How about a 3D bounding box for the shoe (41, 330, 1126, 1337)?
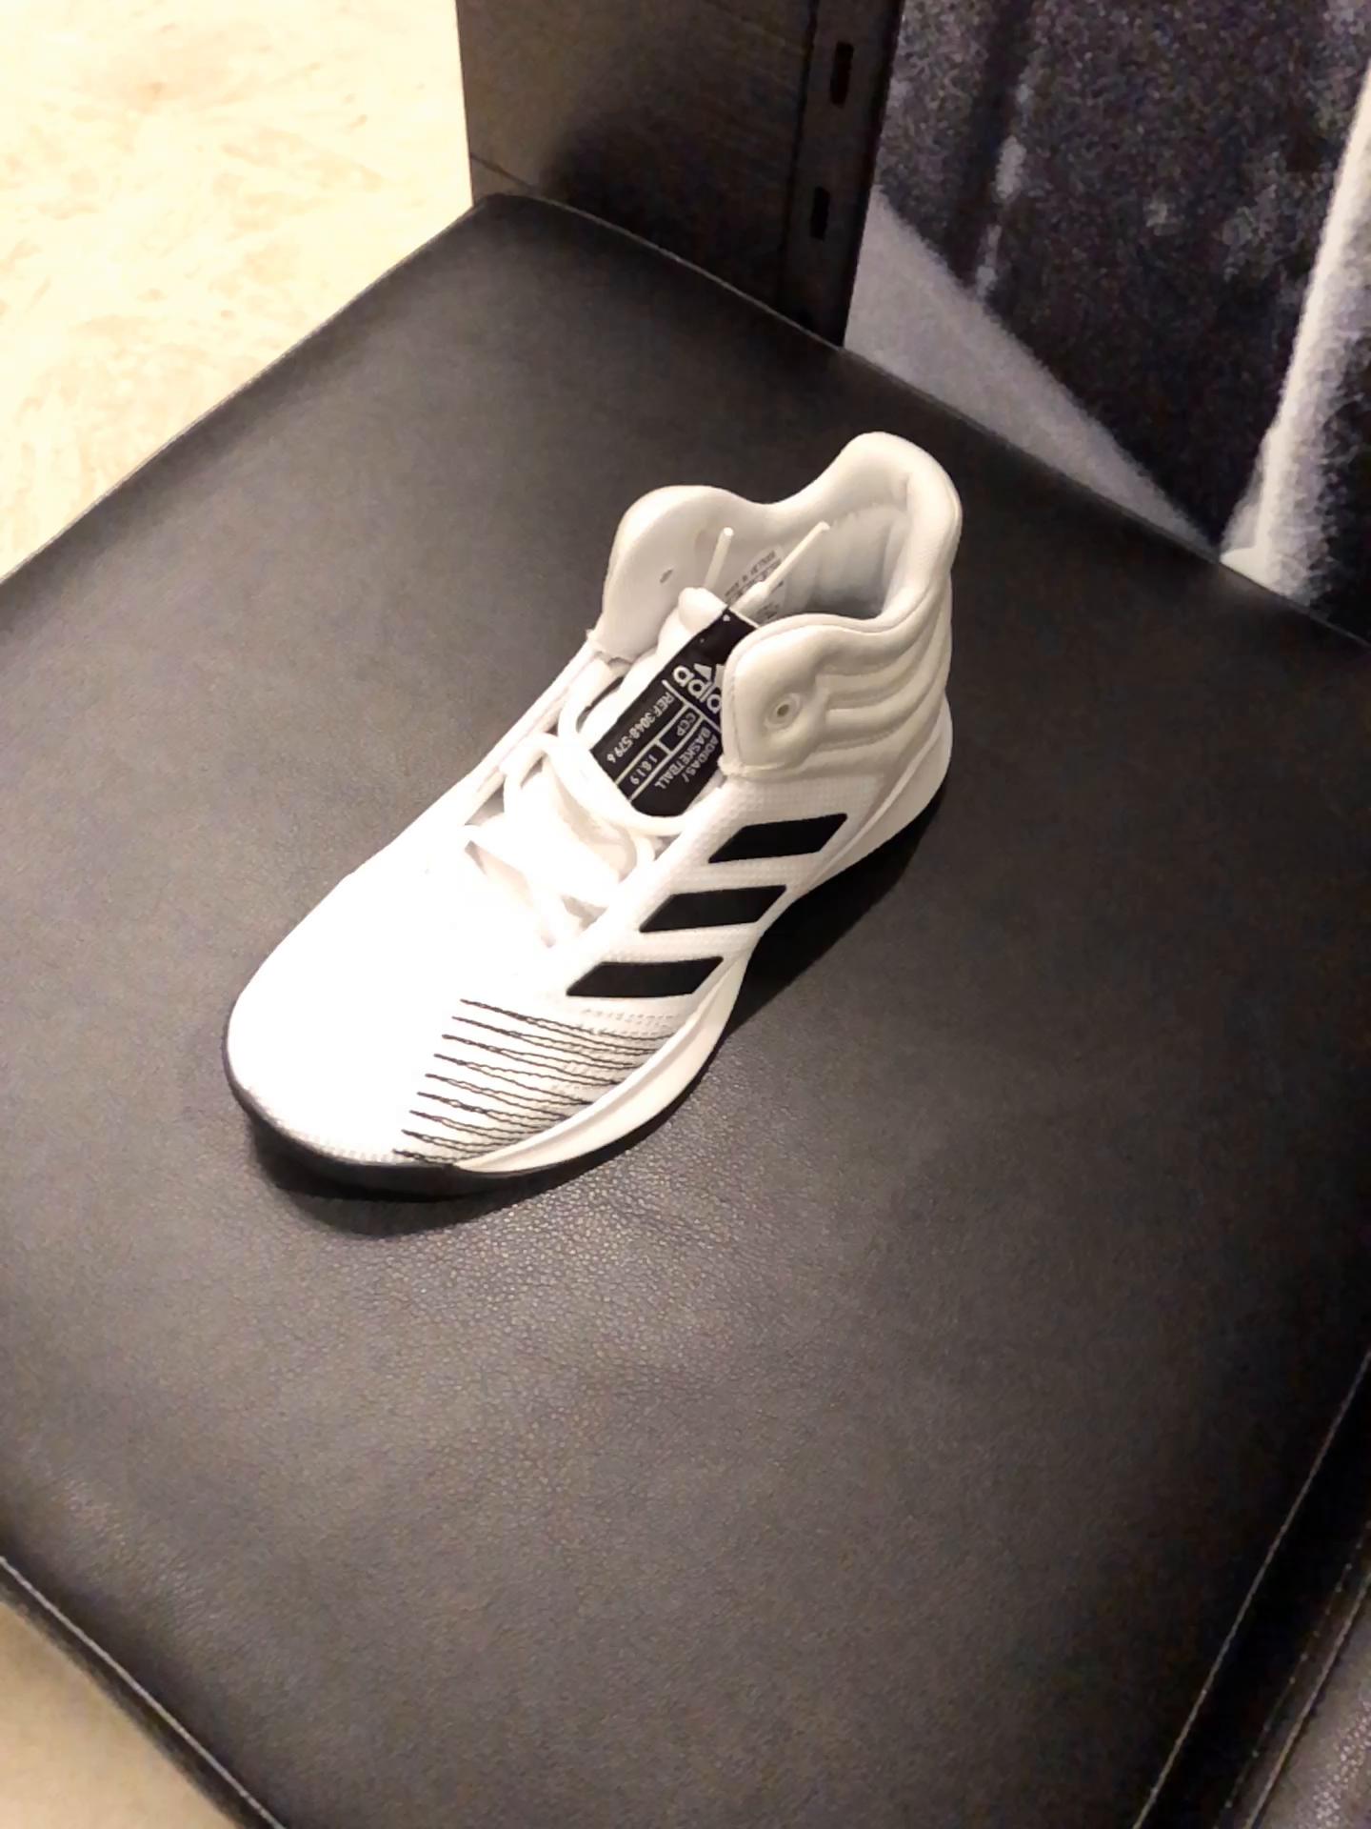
[{"bbox_3d":[-0.016,-0.022,0.372,0.220,0.110,0.100,-39,71,-21],"label":"shoe"}]
